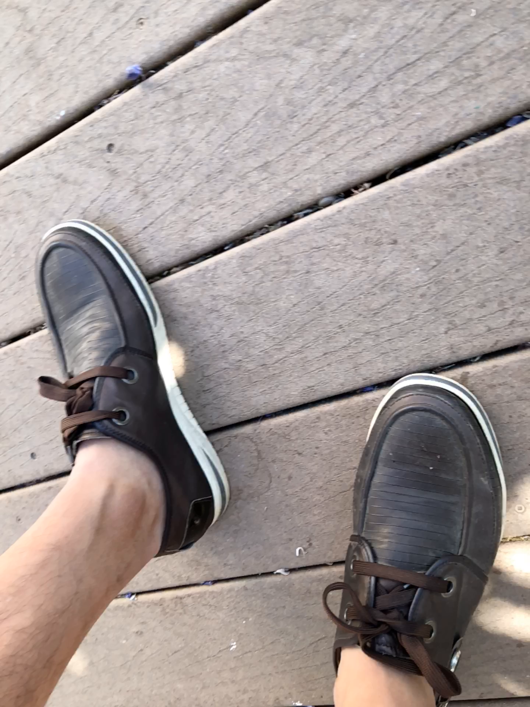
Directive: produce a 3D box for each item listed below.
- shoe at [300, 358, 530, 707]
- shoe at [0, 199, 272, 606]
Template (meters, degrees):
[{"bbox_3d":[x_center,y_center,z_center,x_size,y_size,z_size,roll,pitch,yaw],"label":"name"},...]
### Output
[{"bbox_3d":[0.101,0.155,0.401,0.104,0.089,0.277,11,108,18],"label":"shoe"},{"bbox_3d":[-0.117,0.034,0.455,0.104,0.096,0.283,-25,94,25],"label":"shoe"}]
